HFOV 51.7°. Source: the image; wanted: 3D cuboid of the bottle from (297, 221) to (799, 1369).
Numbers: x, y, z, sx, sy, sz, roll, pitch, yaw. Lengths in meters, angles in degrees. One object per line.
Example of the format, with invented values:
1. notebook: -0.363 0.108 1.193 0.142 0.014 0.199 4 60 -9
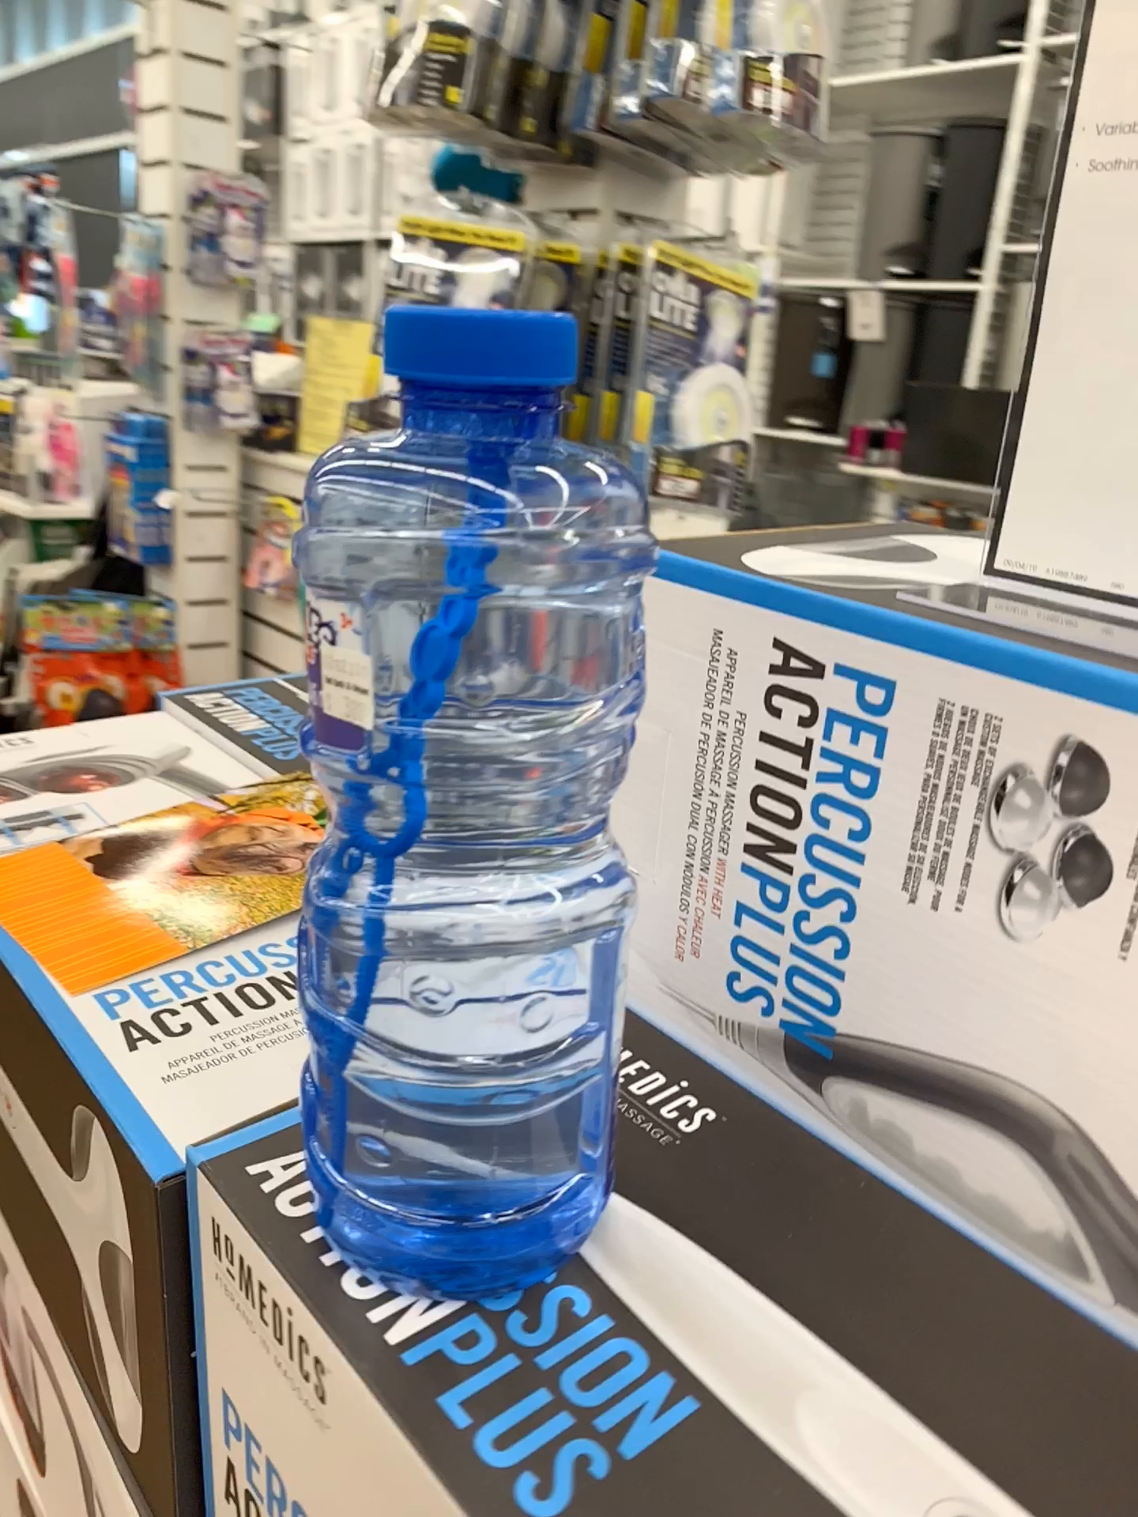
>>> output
1. bottle: -0.018 0.012 0.281 0.081 0.243 0.081 5 18 -2
